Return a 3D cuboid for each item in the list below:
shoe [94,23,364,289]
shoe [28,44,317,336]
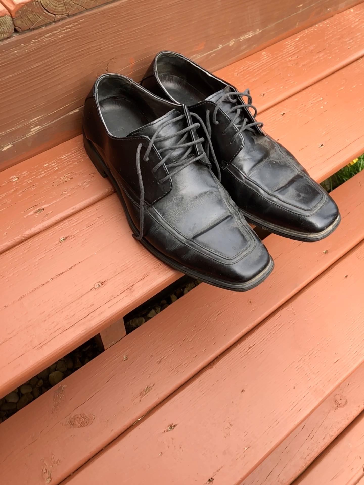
[{"bbox_3d":[0.049,-0.119,0.499,0.130,0.110,0.330,-37,68,-22],"label":"shoe"},{"bbox_3d":[-0.027,-0.075,0.470,0.130,0.110,0.330,-33,66,-21],"label":"shoe"}]
